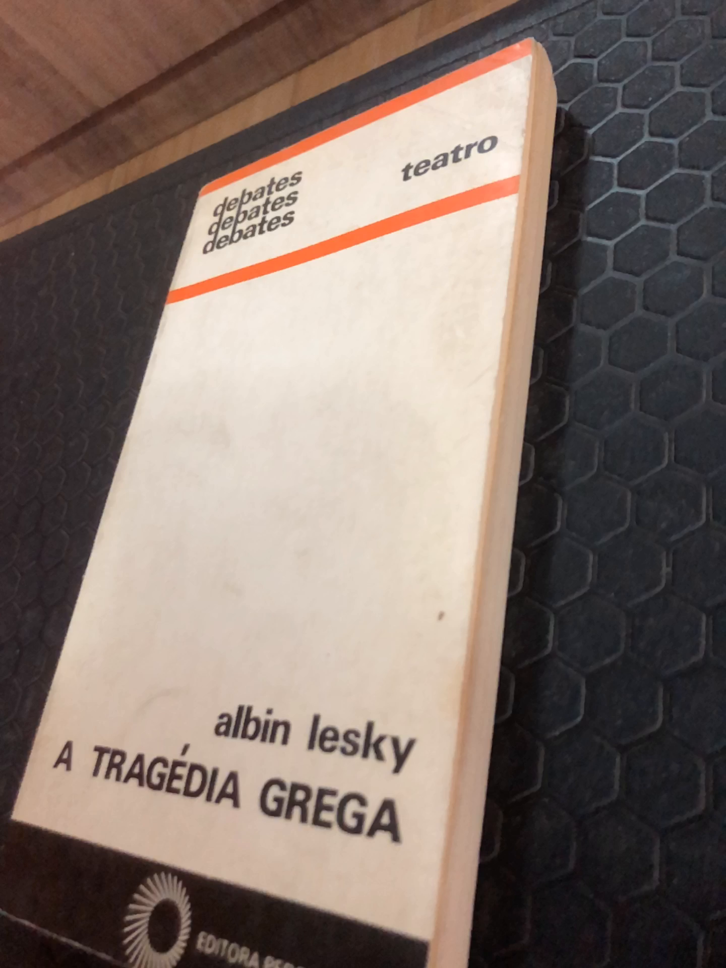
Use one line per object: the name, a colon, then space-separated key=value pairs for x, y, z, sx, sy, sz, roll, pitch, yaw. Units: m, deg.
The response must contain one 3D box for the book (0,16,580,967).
book: x=-0.016 y=-0.003 z=0.187 sx=0.114 sy=0.020 sz=0.207 roll=-6 pitch=63 yaw=36
